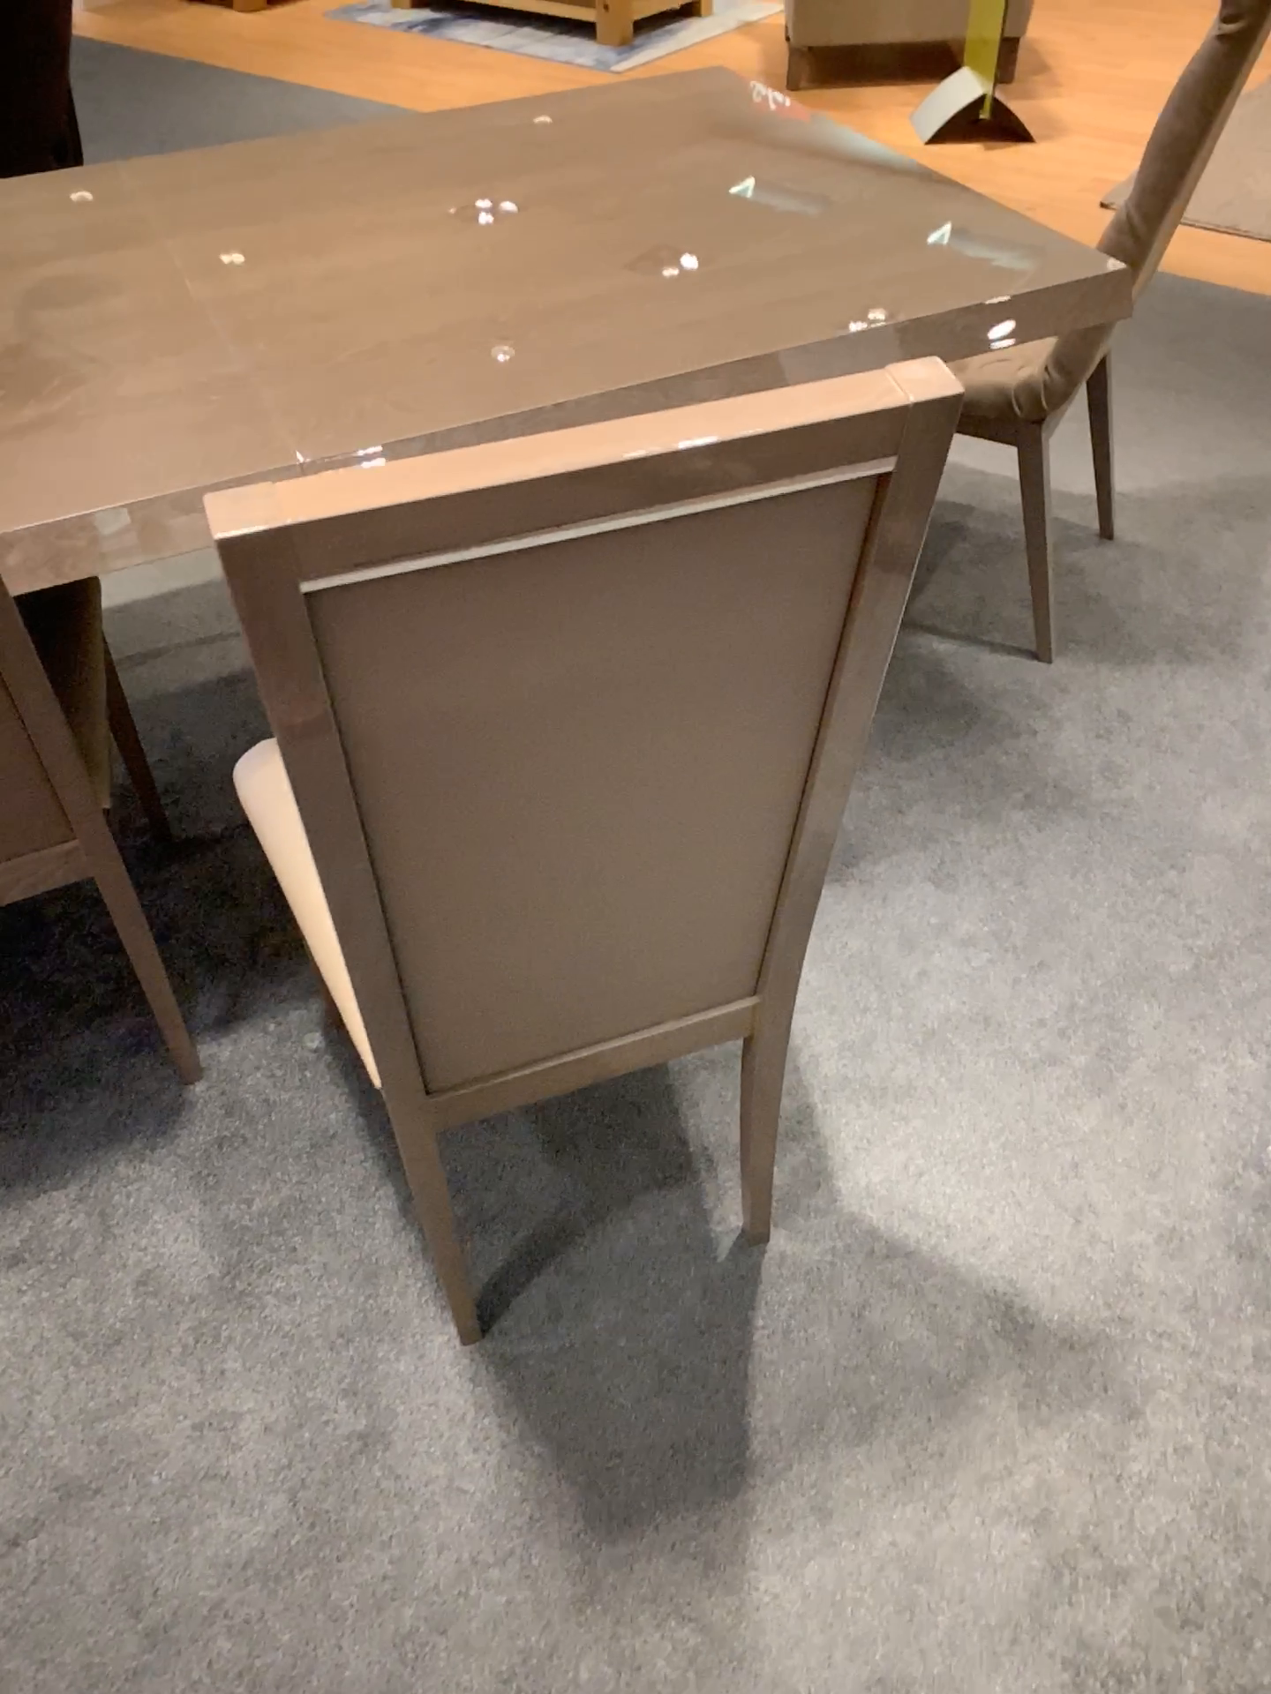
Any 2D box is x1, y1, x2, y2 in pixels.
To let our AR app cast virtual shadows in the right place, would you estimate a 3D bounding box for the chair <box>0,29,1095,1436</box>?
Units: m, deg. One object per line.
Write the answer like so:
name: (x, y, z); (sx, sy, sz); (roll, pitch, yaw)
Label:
chair: (-0.105, -0.041, 1.116); (0.498, 0.976, 0.586); (-15, 48, -13)
